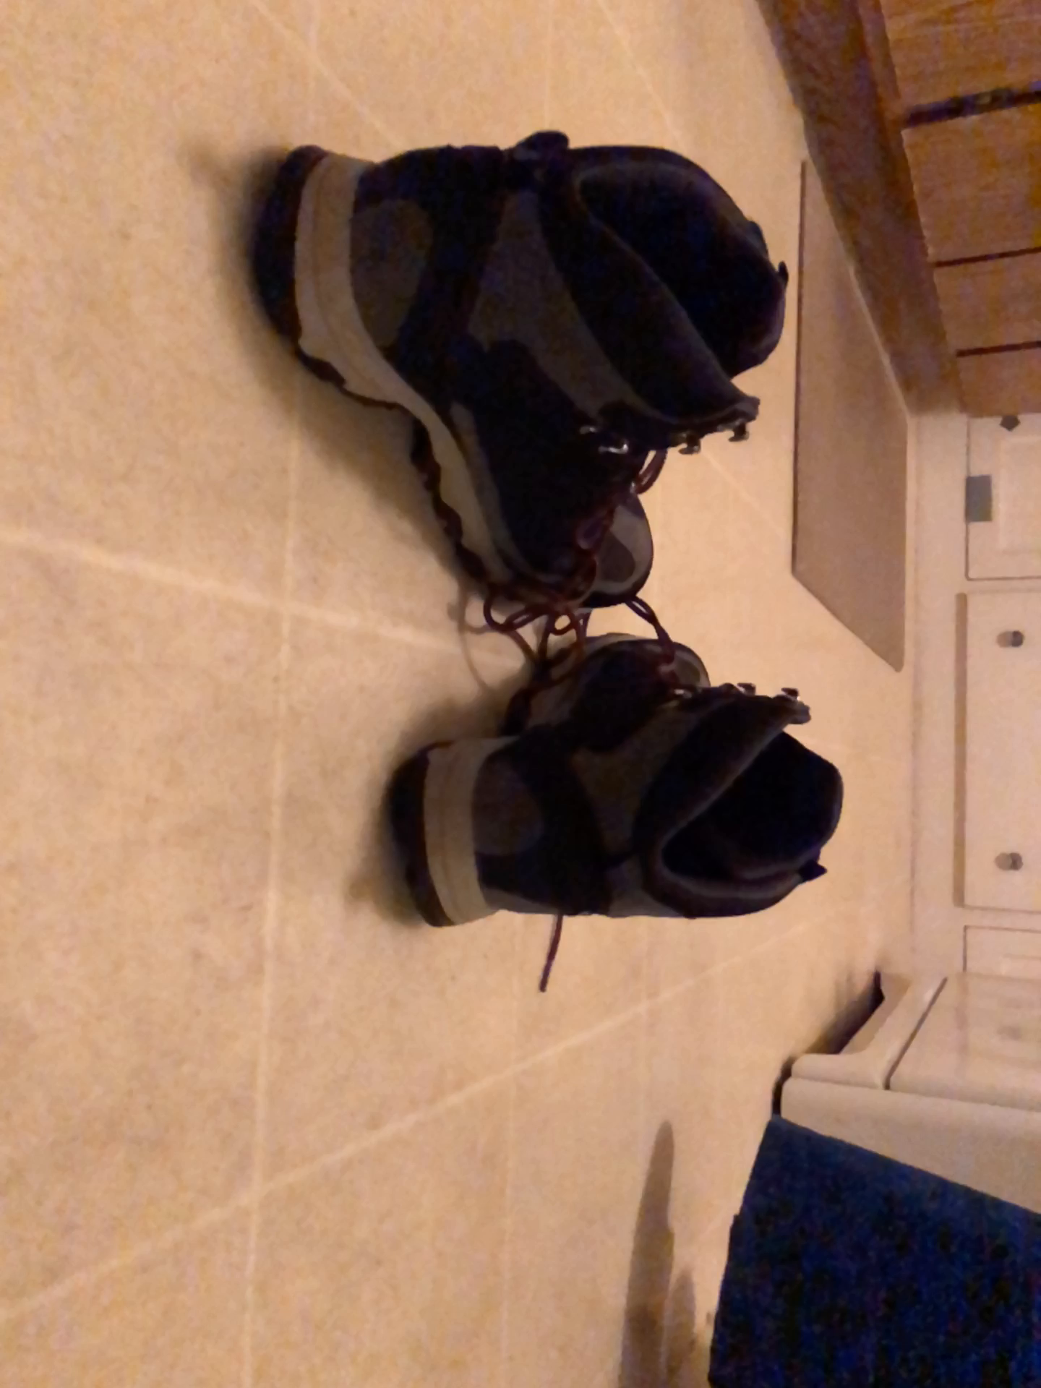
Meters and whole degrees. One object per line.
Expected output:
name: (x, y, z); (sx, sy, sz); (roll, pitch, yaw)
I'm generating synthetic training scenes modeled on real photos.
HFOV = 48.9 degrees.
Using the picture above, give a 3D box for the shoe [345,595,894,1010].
shoe: (0.078, 0.033, 0.618); (0.301, 0.195, 0.116); (-31, 118, -61)

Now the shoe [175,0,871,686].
shoe: (0.034, -0.131, 0.526); (0.310, 0.195, 0.126); (50, 46, -54)
